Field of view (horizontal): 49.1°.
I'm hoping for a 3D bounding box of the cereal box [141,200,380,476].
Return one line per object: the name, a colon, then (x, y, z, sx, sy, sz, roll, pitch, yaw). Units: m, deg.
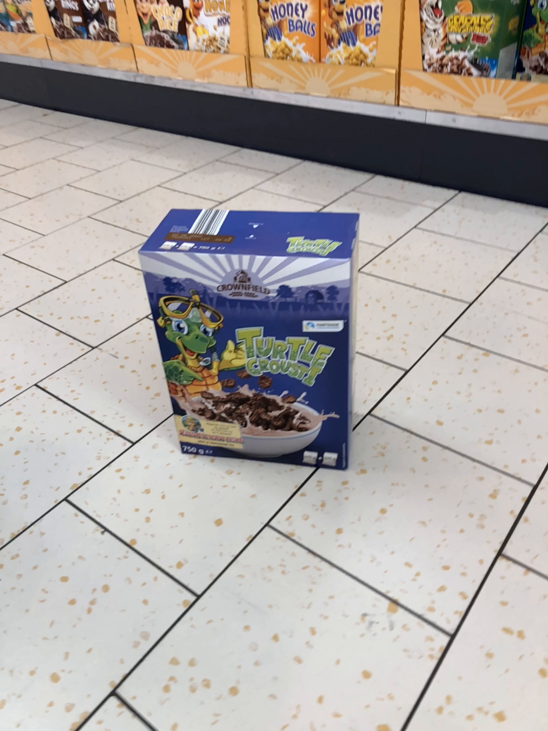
cereal box: (-0.001, -0.024, 0.620, 0.200, 0.258, 0.101, 4, 37, 11)
